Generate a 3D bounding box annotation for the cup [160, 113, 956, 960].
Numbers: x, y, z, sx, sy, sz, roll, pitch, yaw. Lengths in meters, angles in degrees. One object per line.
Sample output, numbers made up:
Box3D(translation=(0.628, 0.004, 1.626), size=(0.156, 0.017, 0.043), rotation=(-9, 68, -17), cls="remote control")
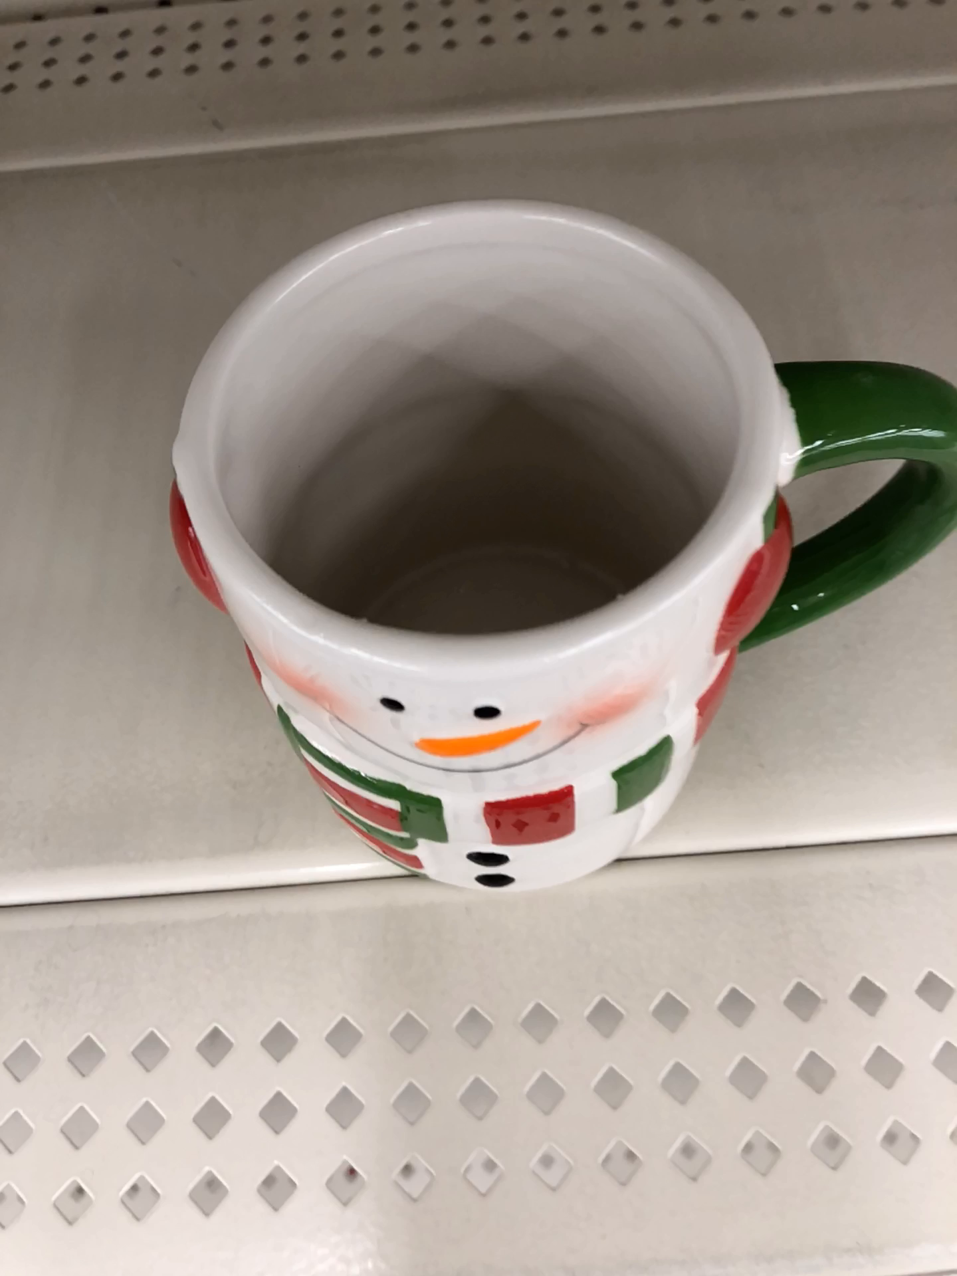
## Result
Box3D(translation=(0.025, -0.008, 0.196), size=(0.130, 0.110, 0.090), rotation=(-9, 62, 0), cls="cup")
